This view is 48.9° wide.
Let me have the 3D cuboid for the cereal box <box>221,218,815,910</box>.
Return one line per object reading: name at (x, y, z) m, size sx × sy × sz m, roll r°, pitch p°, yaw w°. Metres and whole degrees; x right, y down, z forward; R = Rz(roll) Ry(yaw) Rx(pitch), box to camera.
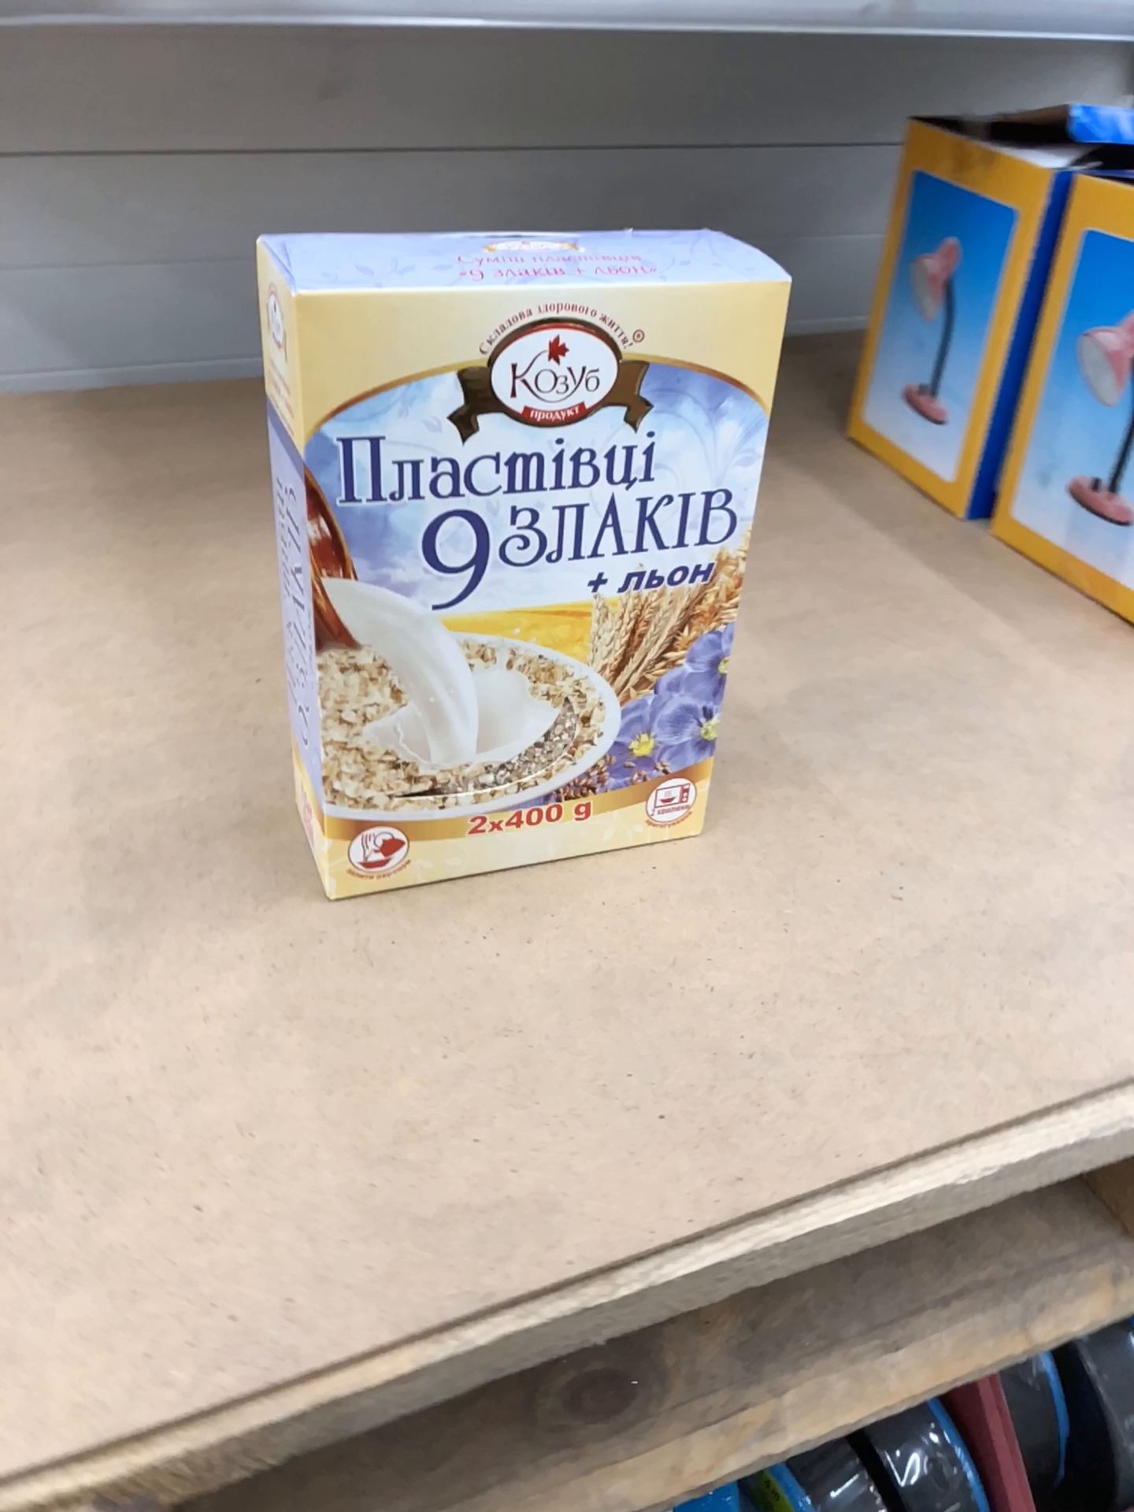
cereal box at (-0.025, -0.069, 0.473) m, size 0.180 × 0.238 × 0.070 m, roll -8°, pitch 38°, yaw -18°
